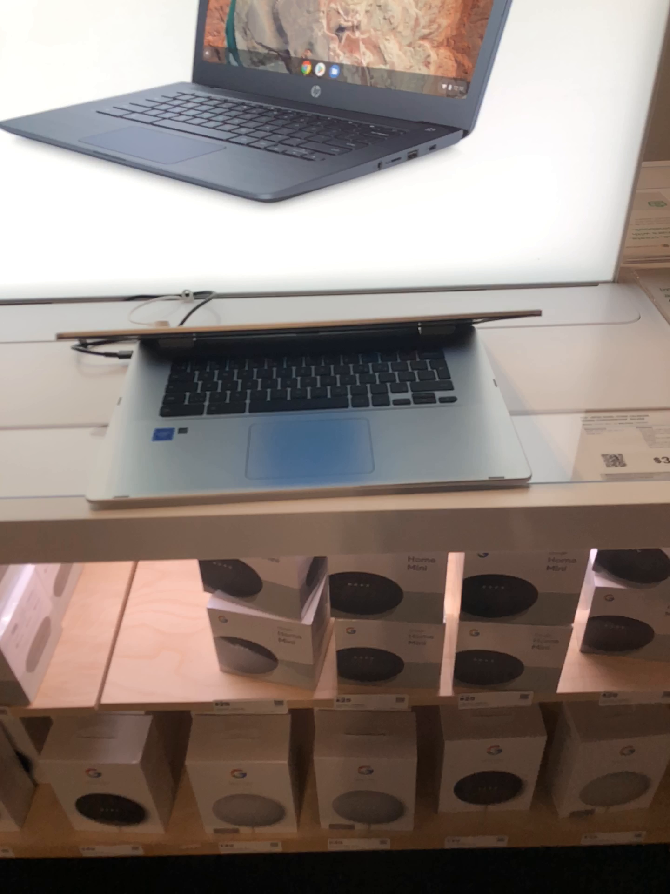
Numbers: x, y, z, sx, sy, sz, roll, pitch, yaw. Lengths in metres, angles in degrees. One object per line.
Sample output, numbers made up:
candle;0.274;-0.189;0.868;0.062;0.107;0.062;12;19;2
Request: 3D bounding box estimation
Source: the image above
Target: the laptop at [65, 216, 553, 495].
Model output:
laptop;-0.023;-0.087;0.623;0.340;0.113;0.223;-3;40;2
